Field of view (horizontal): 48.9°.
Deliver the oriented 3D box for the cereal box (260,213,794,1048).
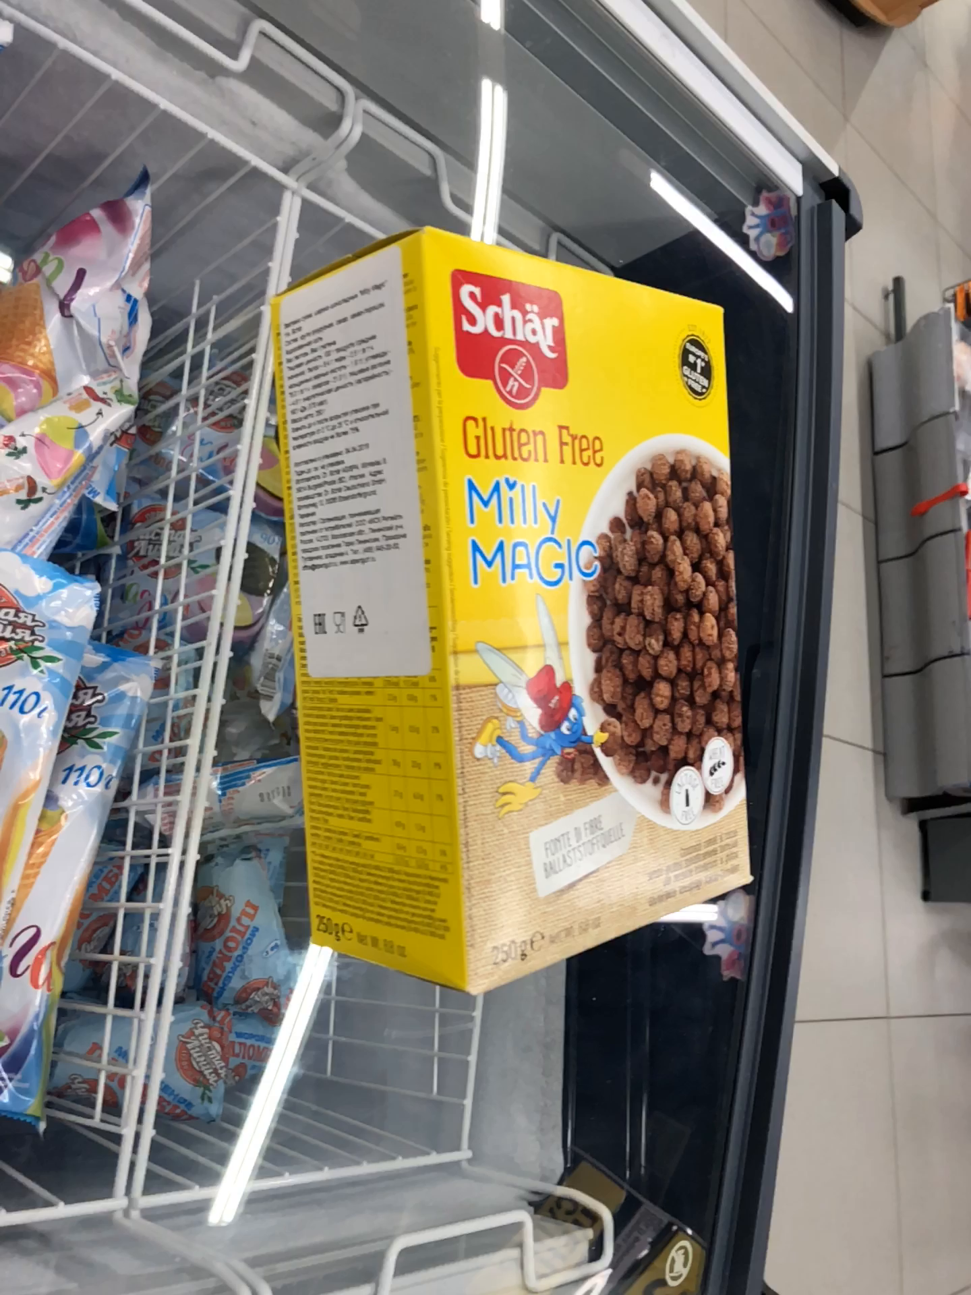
[{"bbox_3d":[0.023,-0.008,0.365,0.171,0.070,0.220,-4,91,-43],"label":"cereal box"}]
